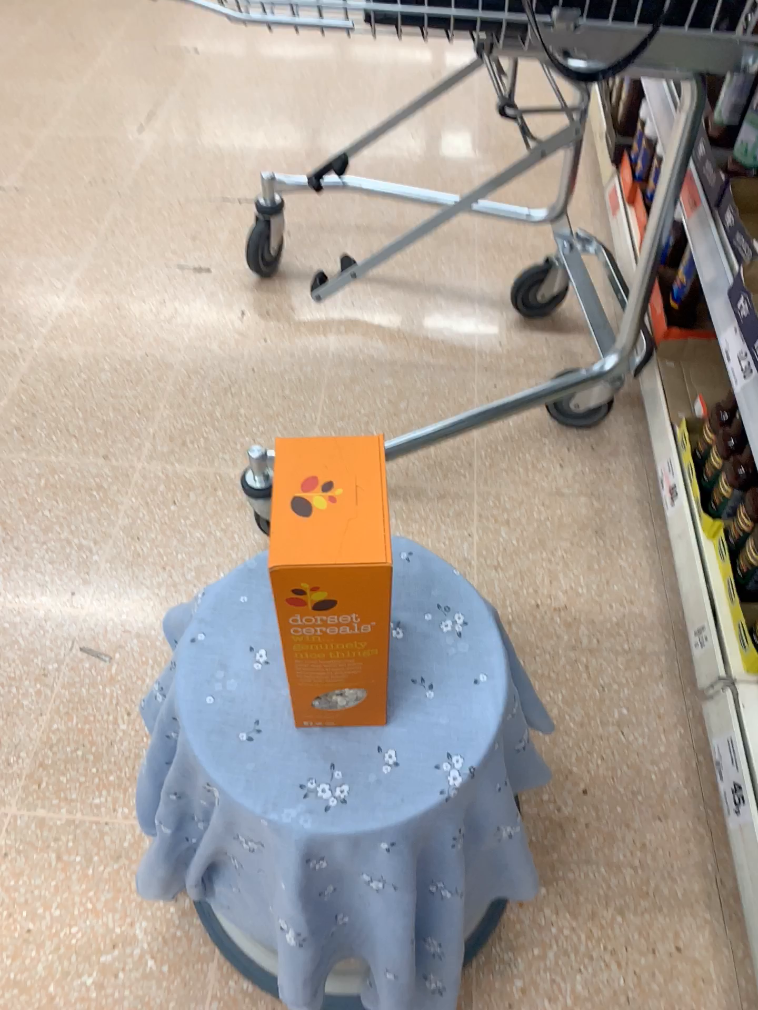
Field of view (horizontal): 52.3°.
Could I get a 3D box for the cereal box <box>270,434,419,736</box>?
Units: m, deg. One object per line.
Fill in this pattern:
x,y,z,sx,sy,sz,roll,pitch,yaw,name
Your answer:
-0.025,0.071,0.592,0.090,0.228,0.121,-3,51,-3,cereal box
